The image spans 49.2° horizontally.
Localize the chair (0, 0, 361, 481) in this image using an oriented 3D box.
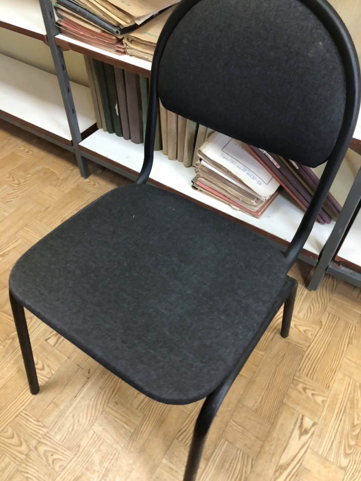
[{"bbox_3d":[-0.025,0.046,0.743,0.473,0.835,0.562,28,55,22],"label":"chair"}]
